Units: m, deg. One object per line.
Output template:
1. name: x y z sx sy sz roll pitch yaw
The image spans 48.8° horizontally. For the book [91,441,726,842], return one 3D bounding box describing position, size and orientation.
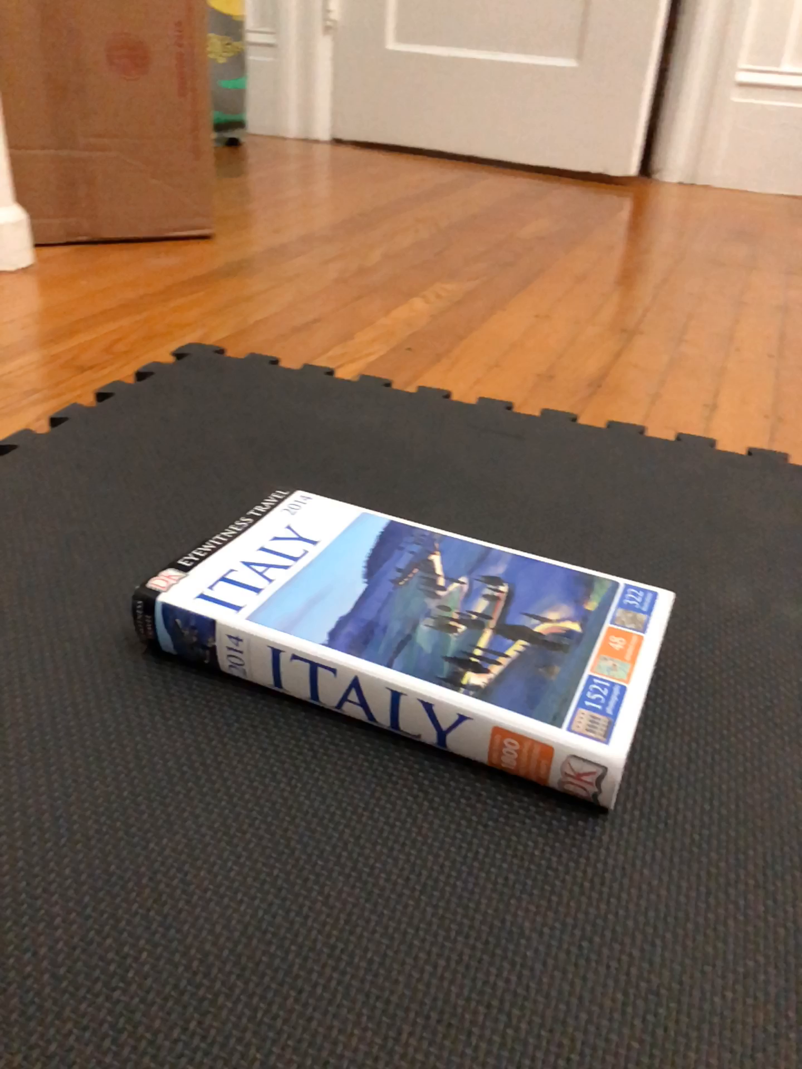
1. book: 0.013 0.029 0.414 0.250 0.040 0.161 14 32 17
